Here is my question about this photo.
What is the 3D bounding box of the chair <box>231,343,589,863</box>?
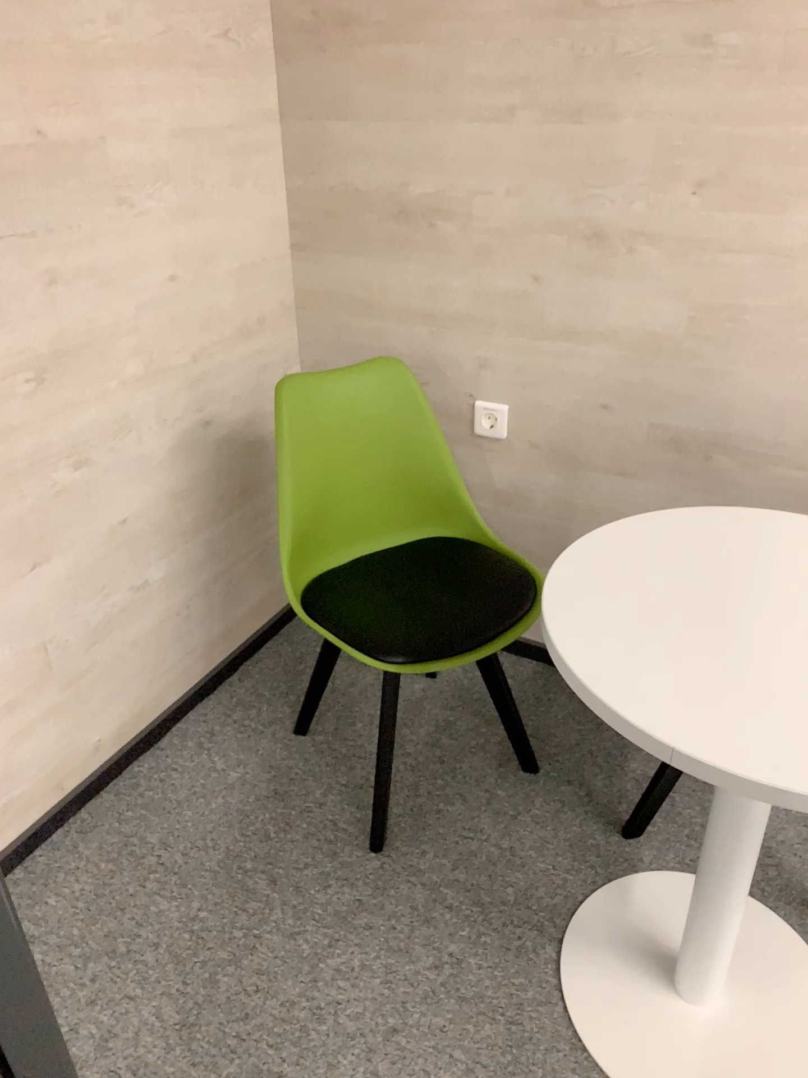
[{"bbox_3d":[0.004,0.107,1.753,0.491,0.865,0.482,-17,32,-27],"label":"chair"}]
